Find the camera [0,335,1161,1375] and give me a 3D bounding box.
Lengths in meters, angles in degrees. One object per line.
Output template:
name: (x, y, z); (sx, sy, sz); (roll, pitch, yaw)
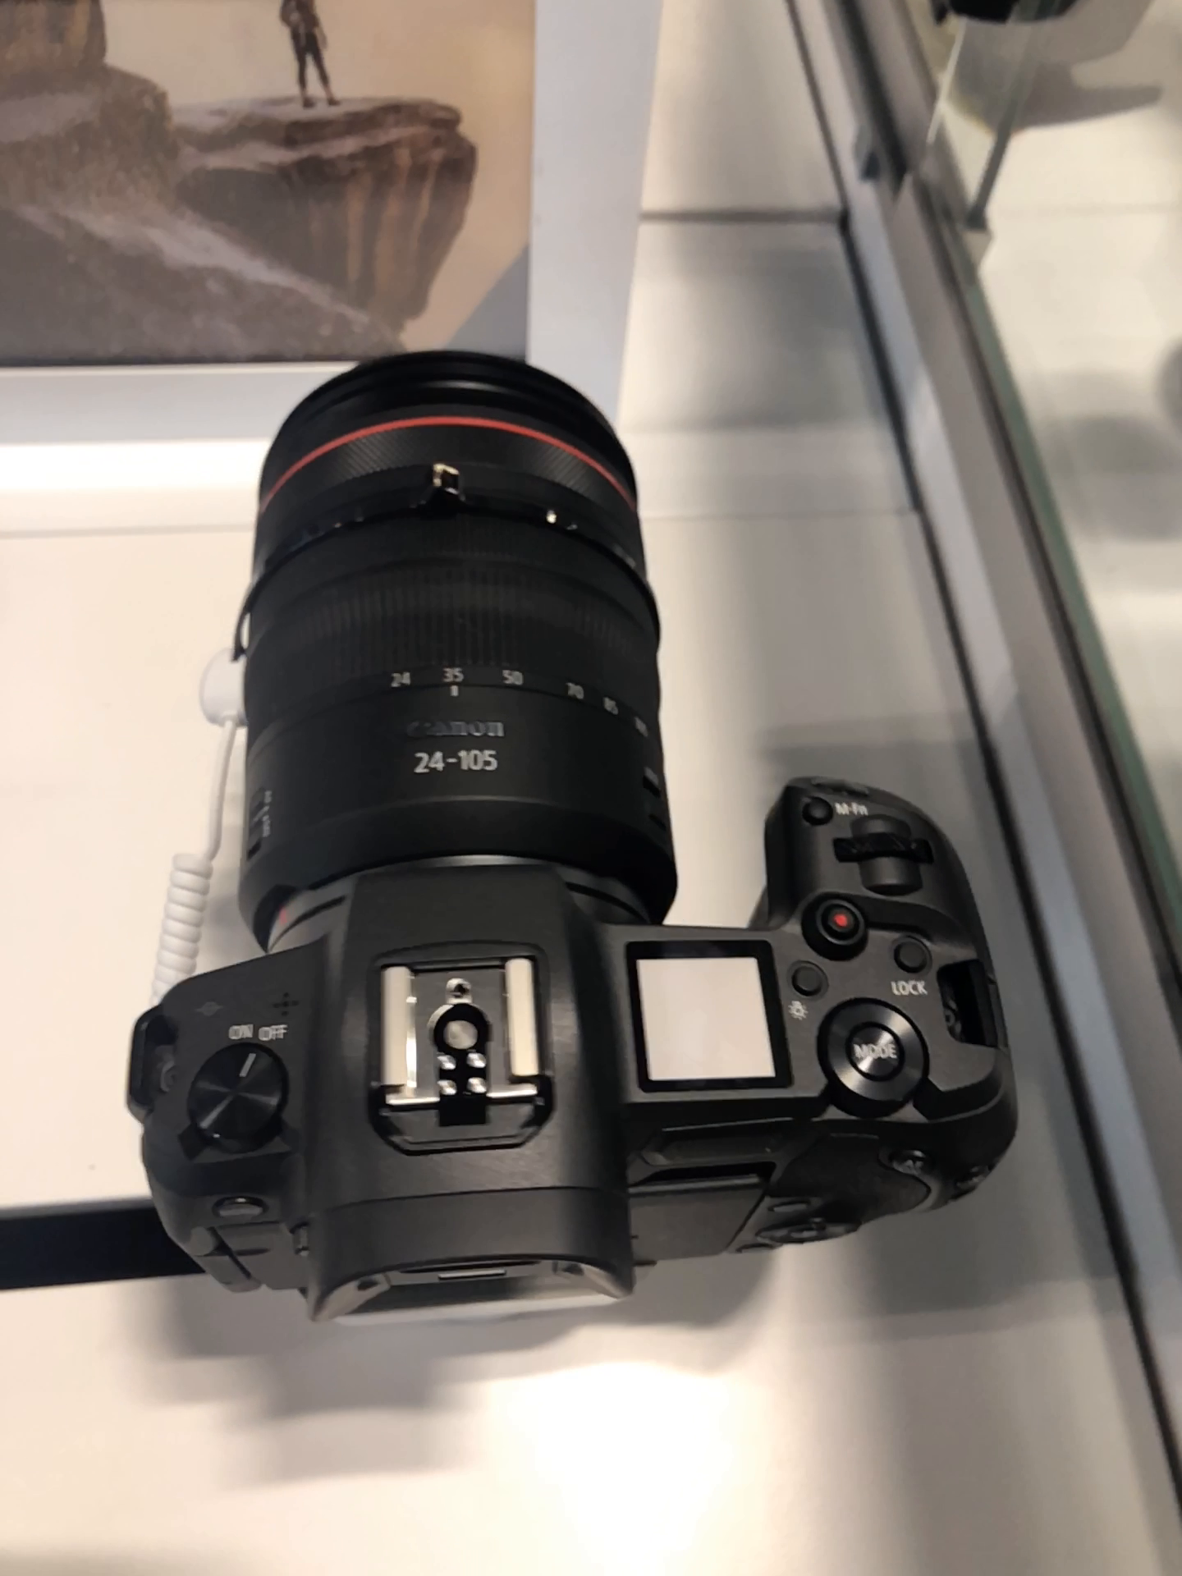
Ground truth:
camera: (-0.010, 0.010, 0.227); (0.139, 0.086, 0.145); (-4, 61, -6)
